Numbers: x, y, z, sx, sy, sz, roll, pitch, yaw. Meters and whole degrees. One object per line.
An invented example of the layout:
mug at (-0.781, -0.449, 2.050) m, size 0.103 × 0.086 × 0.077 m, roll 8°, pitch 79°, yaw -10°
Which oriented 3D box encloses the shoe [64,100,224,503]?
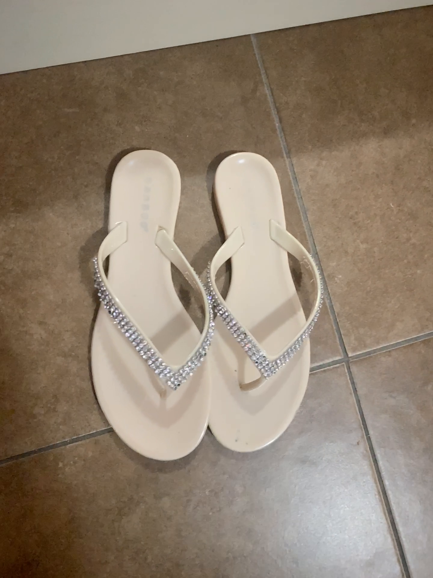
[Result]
shoe at (-0.051, 0.004, 0.312) m, size 0.093 × 0.067 × 0.249 m, roll -2°, pitch 84°, yaw -7°

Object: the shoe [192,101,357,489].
shoe at (0.035, 0.001, 0.322) m, size 0.091 × 0.067 × 0.249 m, roll -2°, pitch 84°, yaw -7°
